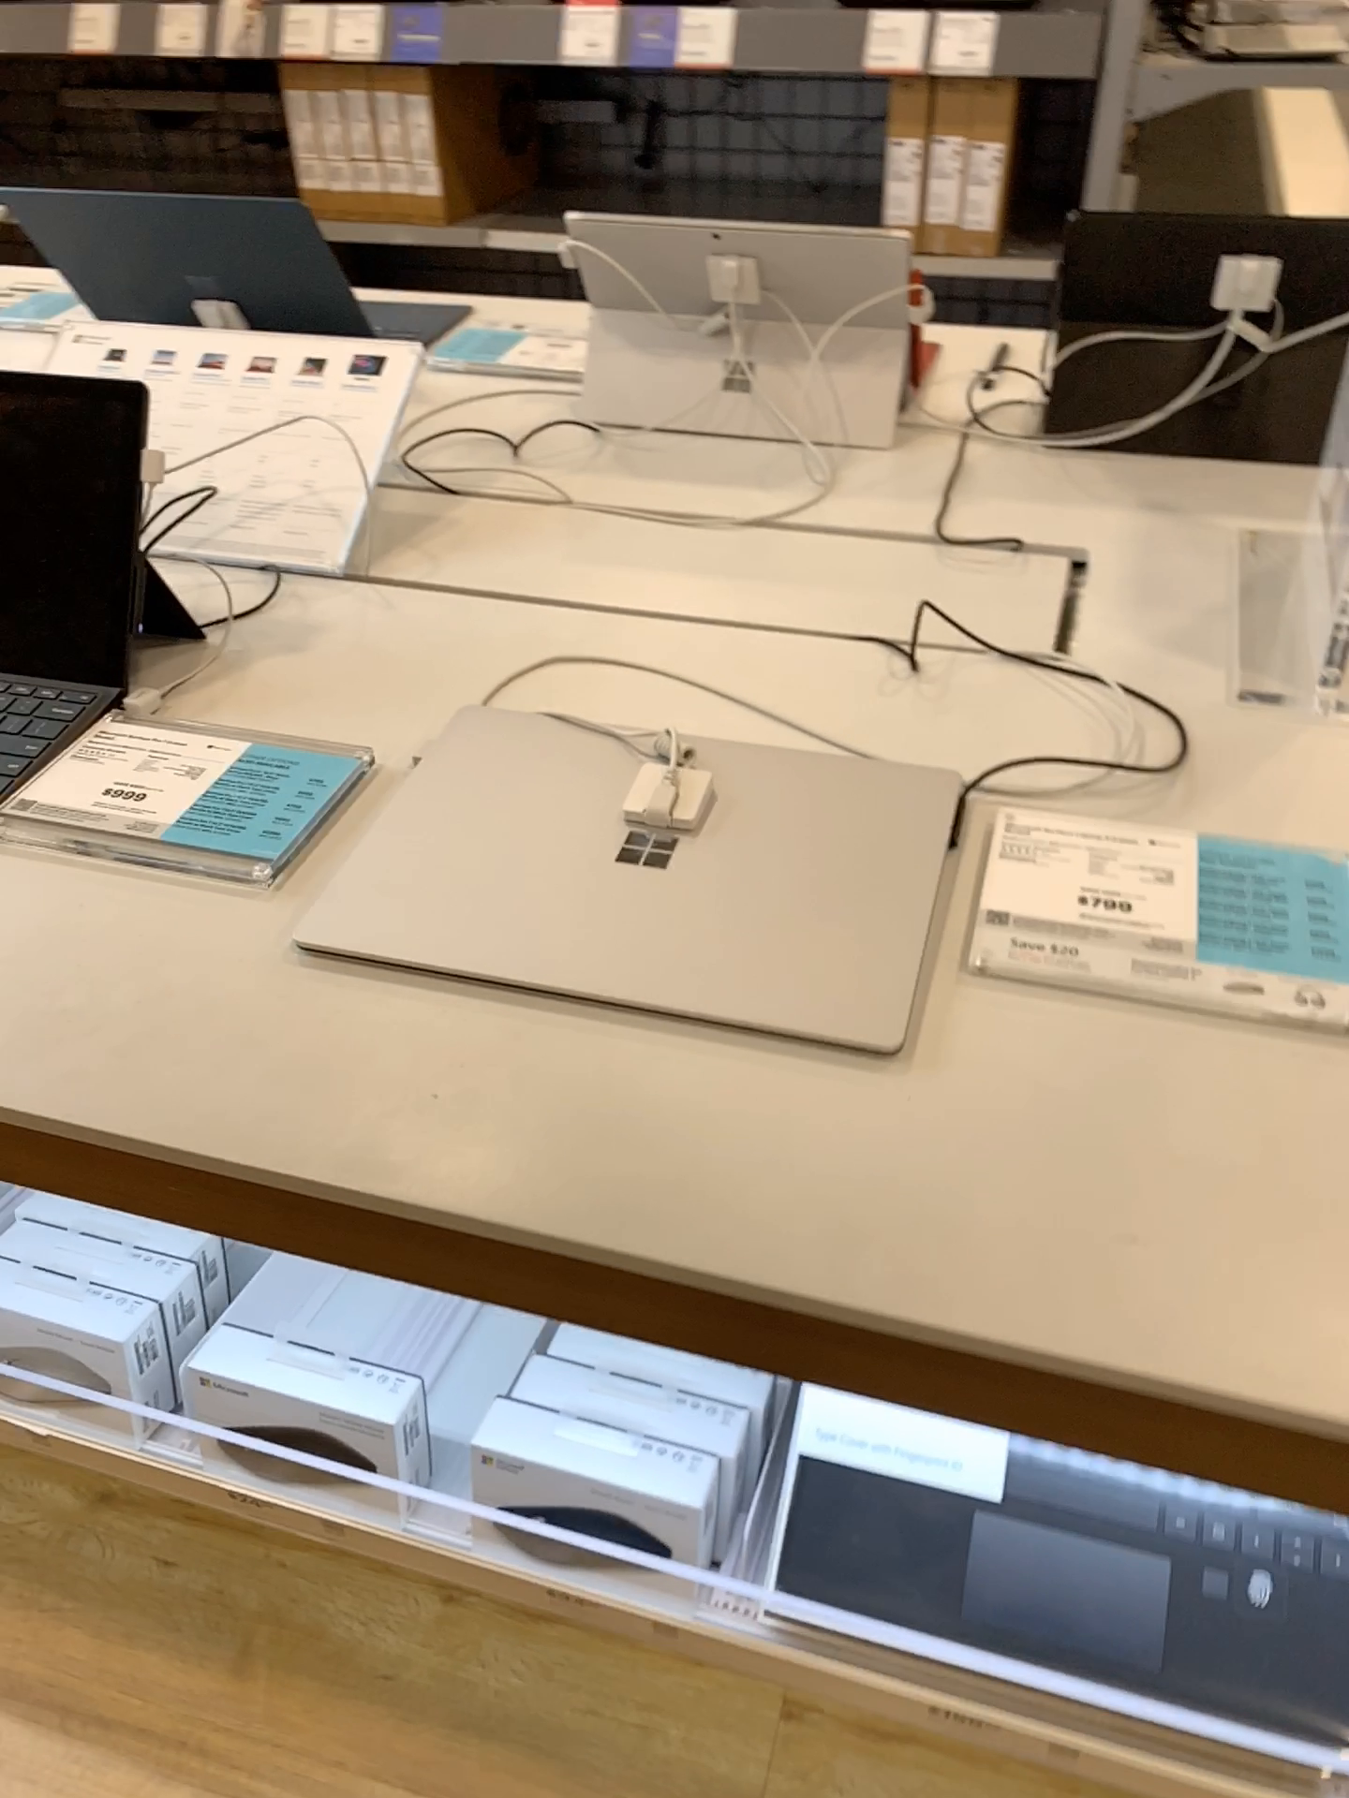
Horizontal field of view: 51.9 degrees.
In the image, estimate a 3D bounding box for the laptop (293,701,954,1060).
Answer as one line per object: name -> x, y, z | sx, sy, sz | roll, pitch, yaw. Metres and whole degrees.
laptop -> -0.015, -0.024, 0.736 | 0.297, 0.008, 0.221 | 9, 42, 12
